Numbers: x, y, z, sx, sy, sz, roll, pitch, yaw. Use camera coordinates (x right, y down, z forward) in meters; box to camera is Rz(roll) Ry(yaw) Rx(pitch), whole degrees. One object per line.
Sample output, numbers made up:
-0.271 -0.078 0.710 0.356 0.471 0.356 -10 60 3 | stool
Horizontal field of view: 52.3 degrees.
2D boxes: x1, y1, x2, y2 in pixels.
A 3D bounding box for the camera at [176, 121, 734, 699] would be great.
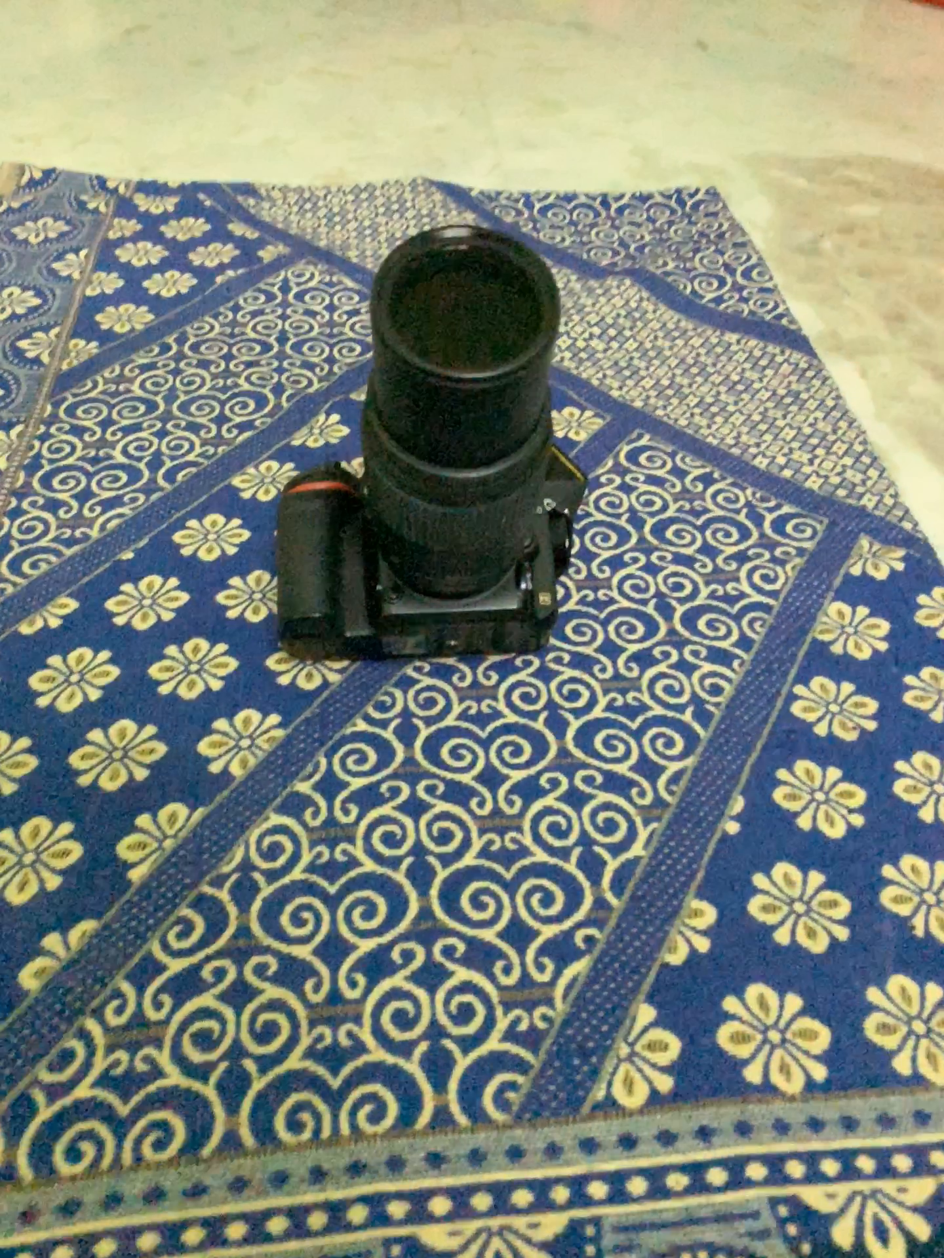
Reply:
-0.012 -0.074 0.390 0.160 0.191 0.131 -1 60 -5 | camera
